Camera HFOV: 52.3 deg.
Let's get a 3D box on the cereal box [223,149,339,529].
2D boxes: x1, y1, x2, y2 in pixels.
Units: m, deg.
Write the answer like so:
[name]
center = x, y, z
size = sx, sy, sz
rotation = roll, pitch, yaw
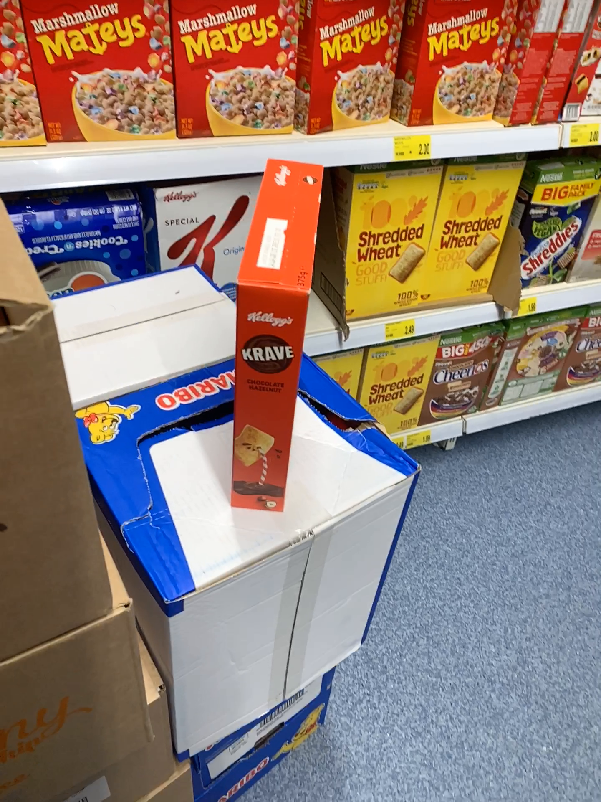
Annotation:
[cereal box]
center = -0.017, -0.049, 0.513
size = 0.060, 0.238, 0.202
rotation = 7, 43, -2
